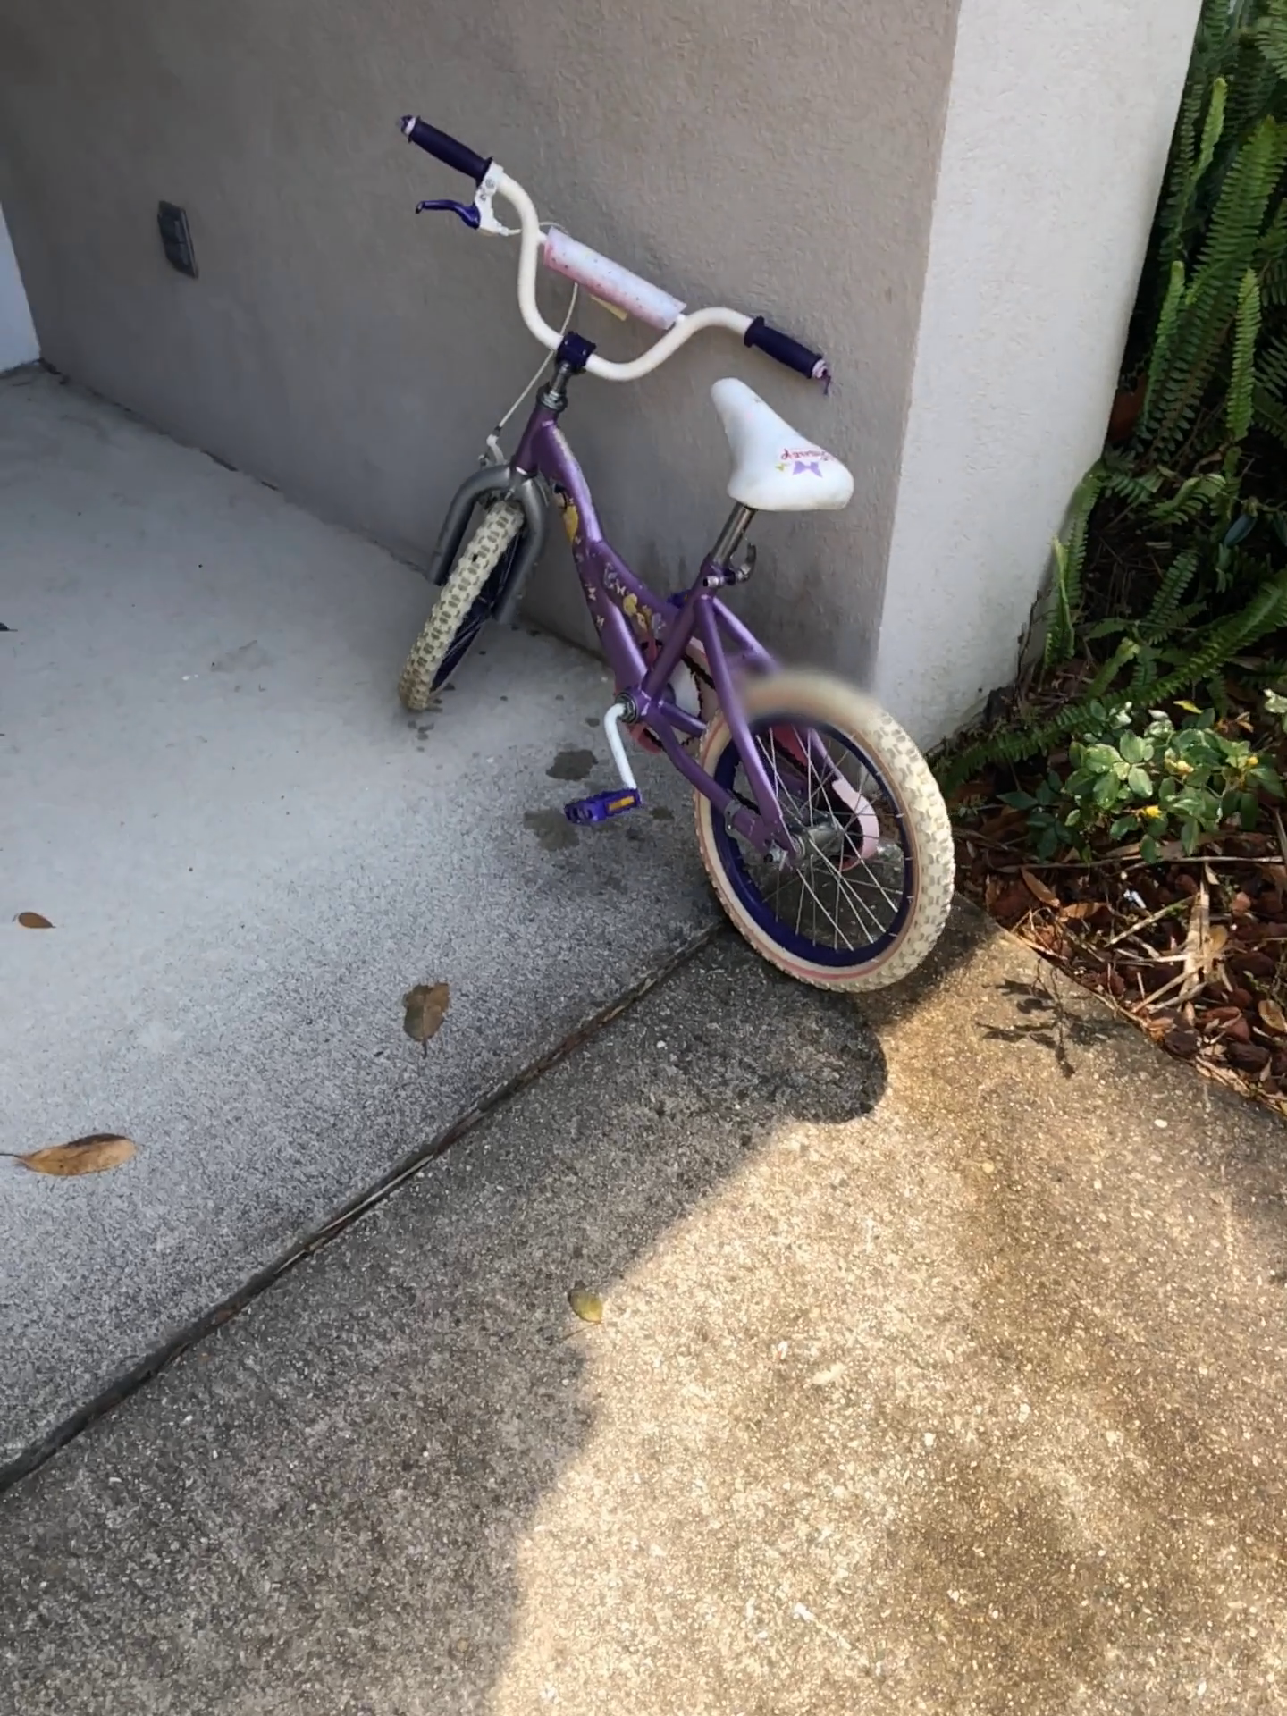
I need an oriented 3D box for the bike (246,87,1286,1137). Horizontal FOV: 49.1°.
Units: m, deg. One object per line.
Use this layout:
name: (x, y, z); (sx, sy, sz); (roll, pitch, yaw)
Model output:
bike: (0.087, -0.342, 1.669); (0.617, 0.815, 0.849); (-28, 47, -29)
